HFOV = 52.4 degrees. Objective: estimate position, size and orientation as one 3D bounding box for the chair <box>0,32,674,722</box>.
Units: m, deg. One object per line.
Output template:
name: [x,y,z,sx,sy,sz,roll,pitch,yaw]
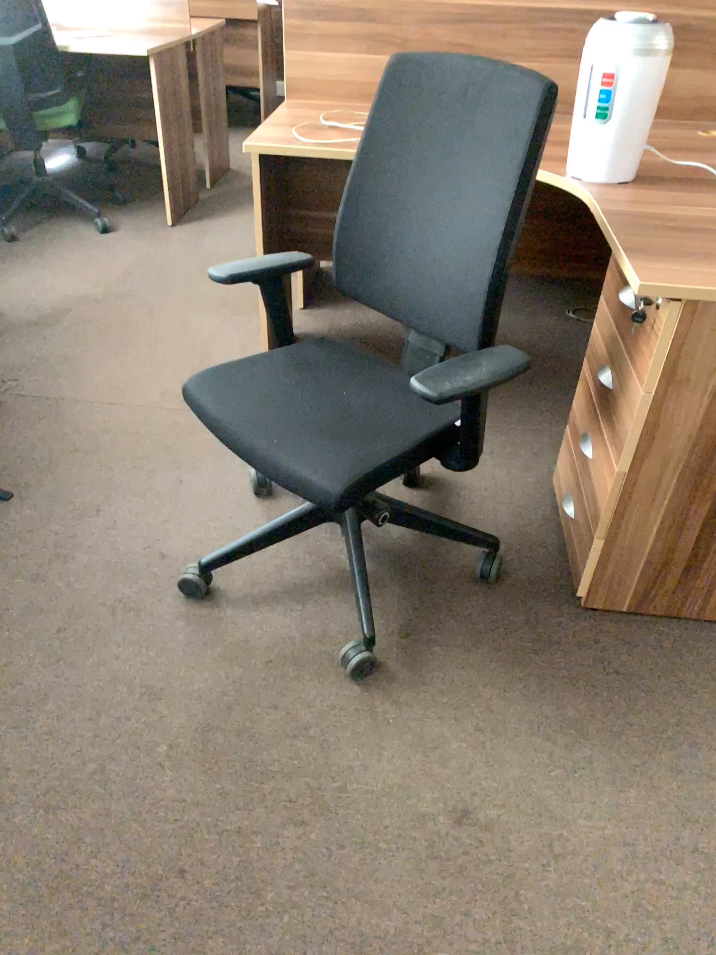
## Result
chair: [-0.037,-0.258,1.385,0.792,0.915,0.672,-28,46,-34]
